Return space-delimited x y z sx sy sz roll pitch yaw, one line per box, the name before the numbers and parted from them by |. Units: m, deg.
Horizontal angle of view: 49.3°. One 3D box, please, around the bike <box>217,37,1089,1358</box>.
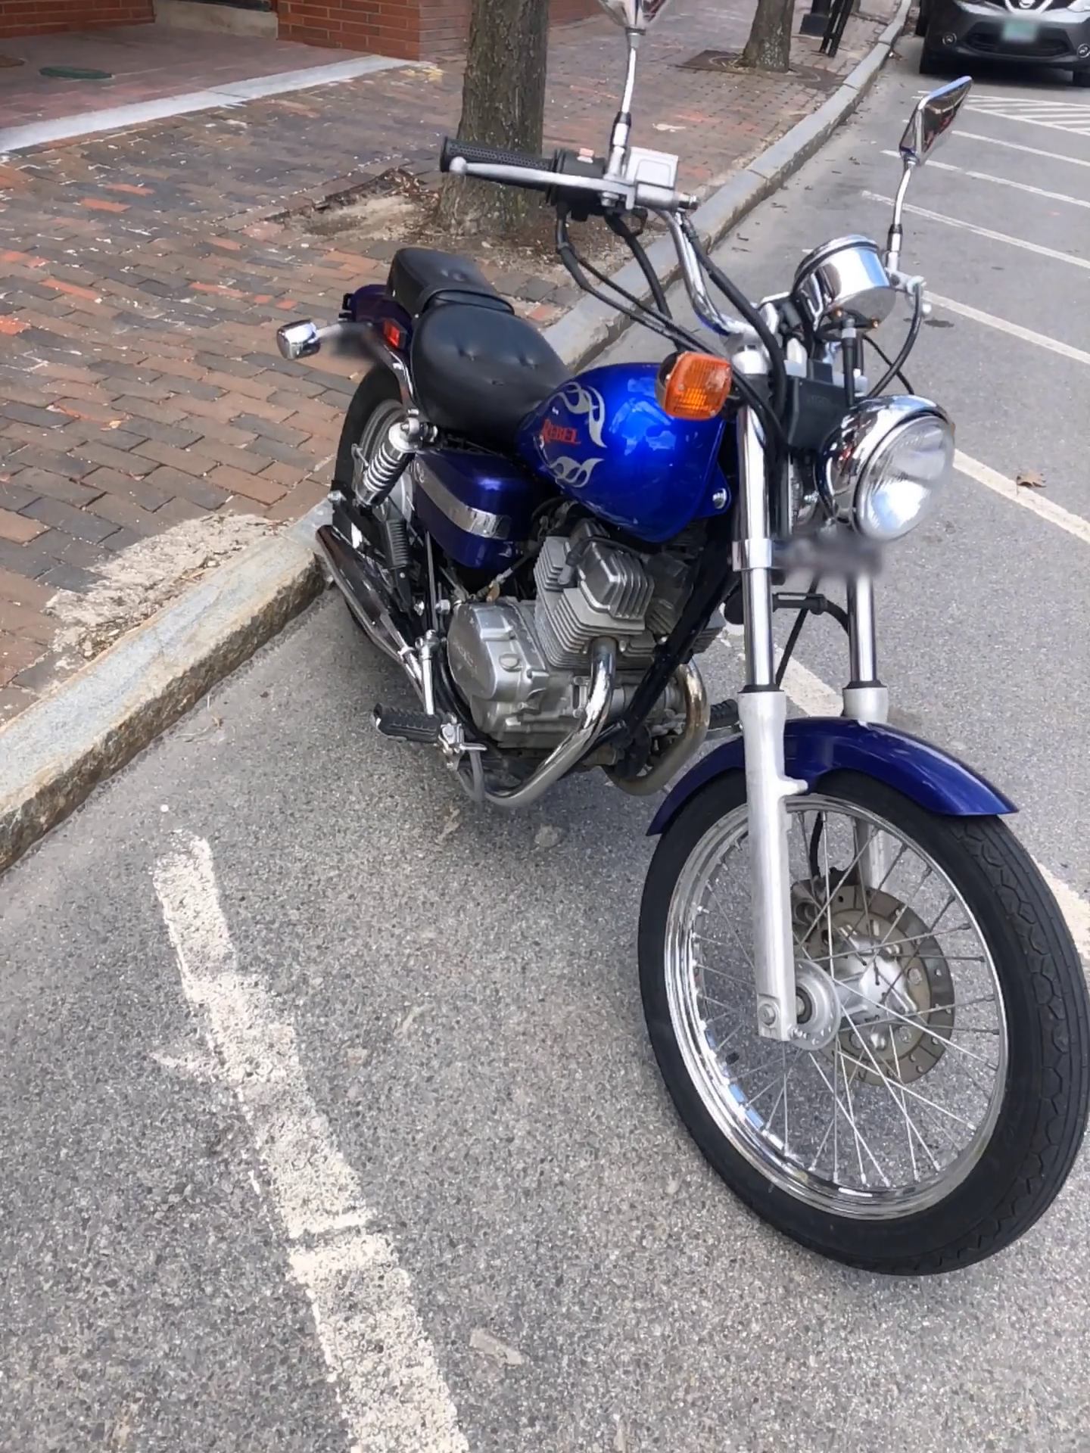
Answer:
bike | 0.214 -0.341 1.725 0.789 1.036 1.916 -12 35 -25
